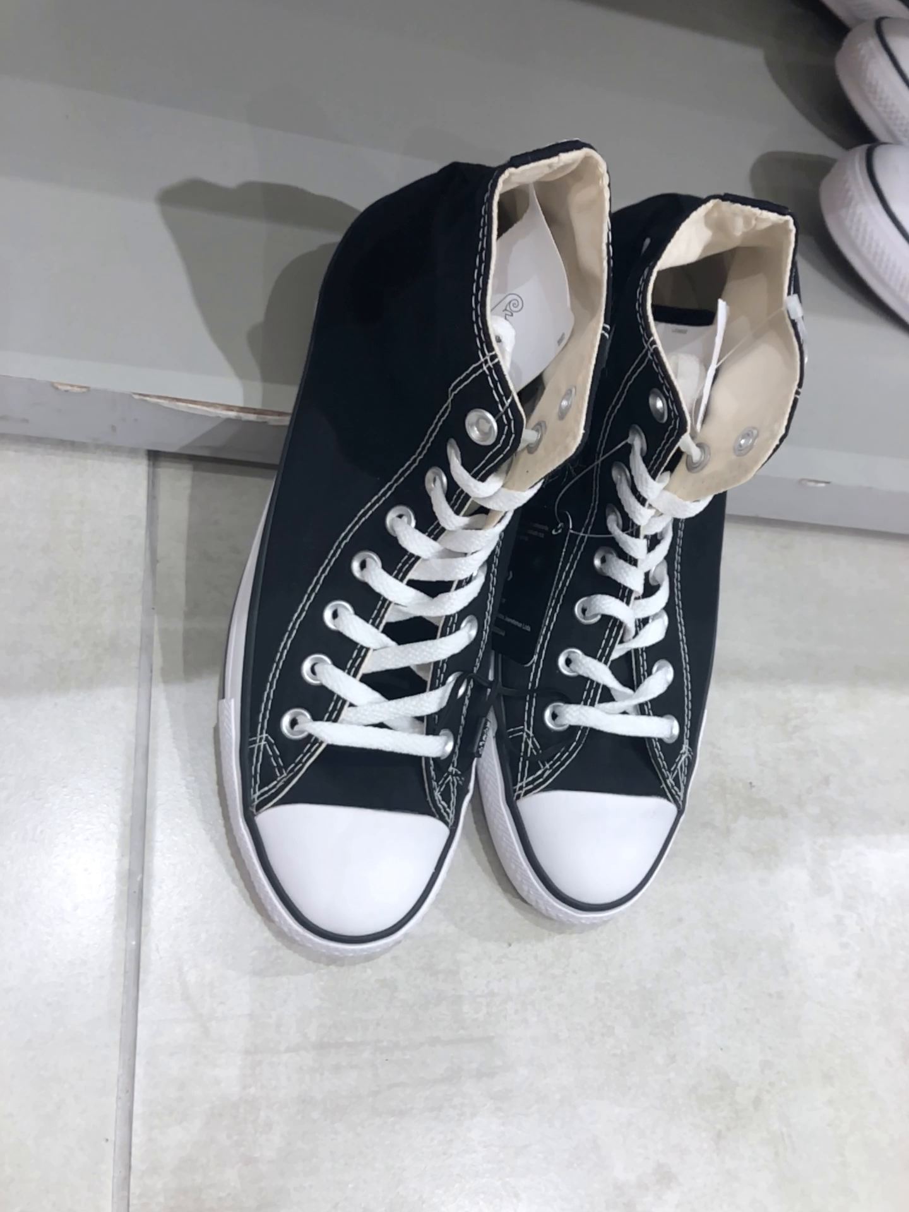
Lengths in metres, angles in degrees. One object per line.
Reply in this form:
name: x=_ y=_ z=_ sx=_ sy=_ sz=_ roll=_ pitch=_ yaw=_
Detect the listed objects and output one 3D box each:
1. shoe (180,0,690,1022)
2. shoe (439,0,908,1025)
shoe: x=-0.021 y=-0.028 z=0.379 sx=0.120 sy=0.140 sz=0.310 roll=7 pitch=91 yaw=-17
shoe: x=0.087 y=-0.031 z=0.399 sx=0.120 sy=0.140 sz=0.330 roll=5 pitch=92 yaw=-17
